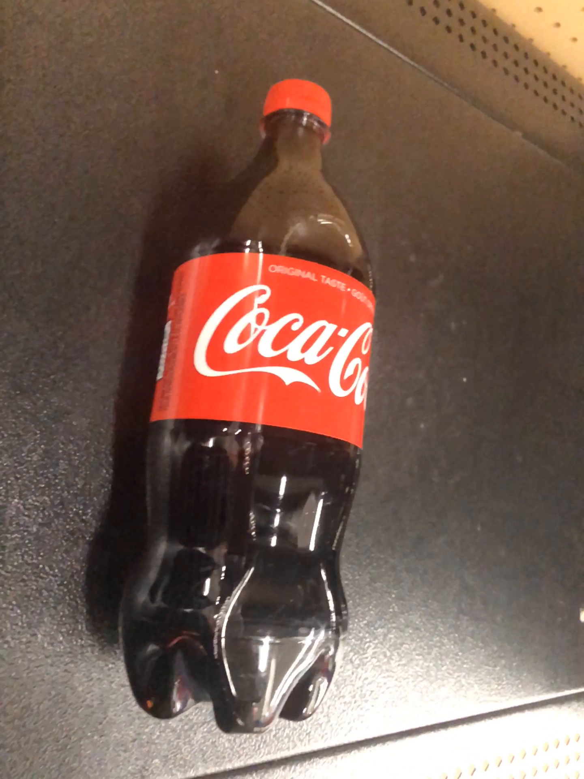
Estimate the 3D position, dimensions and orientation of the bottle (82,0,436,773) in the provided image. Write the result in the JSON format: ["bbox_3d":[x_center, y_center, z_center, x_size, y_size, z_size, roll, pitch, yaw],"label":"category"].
[{"bbox_3d":[-0.009,-0.006,0.265,0.080,0.080,0.260,15,77,-35],"label":"bottle"}]
